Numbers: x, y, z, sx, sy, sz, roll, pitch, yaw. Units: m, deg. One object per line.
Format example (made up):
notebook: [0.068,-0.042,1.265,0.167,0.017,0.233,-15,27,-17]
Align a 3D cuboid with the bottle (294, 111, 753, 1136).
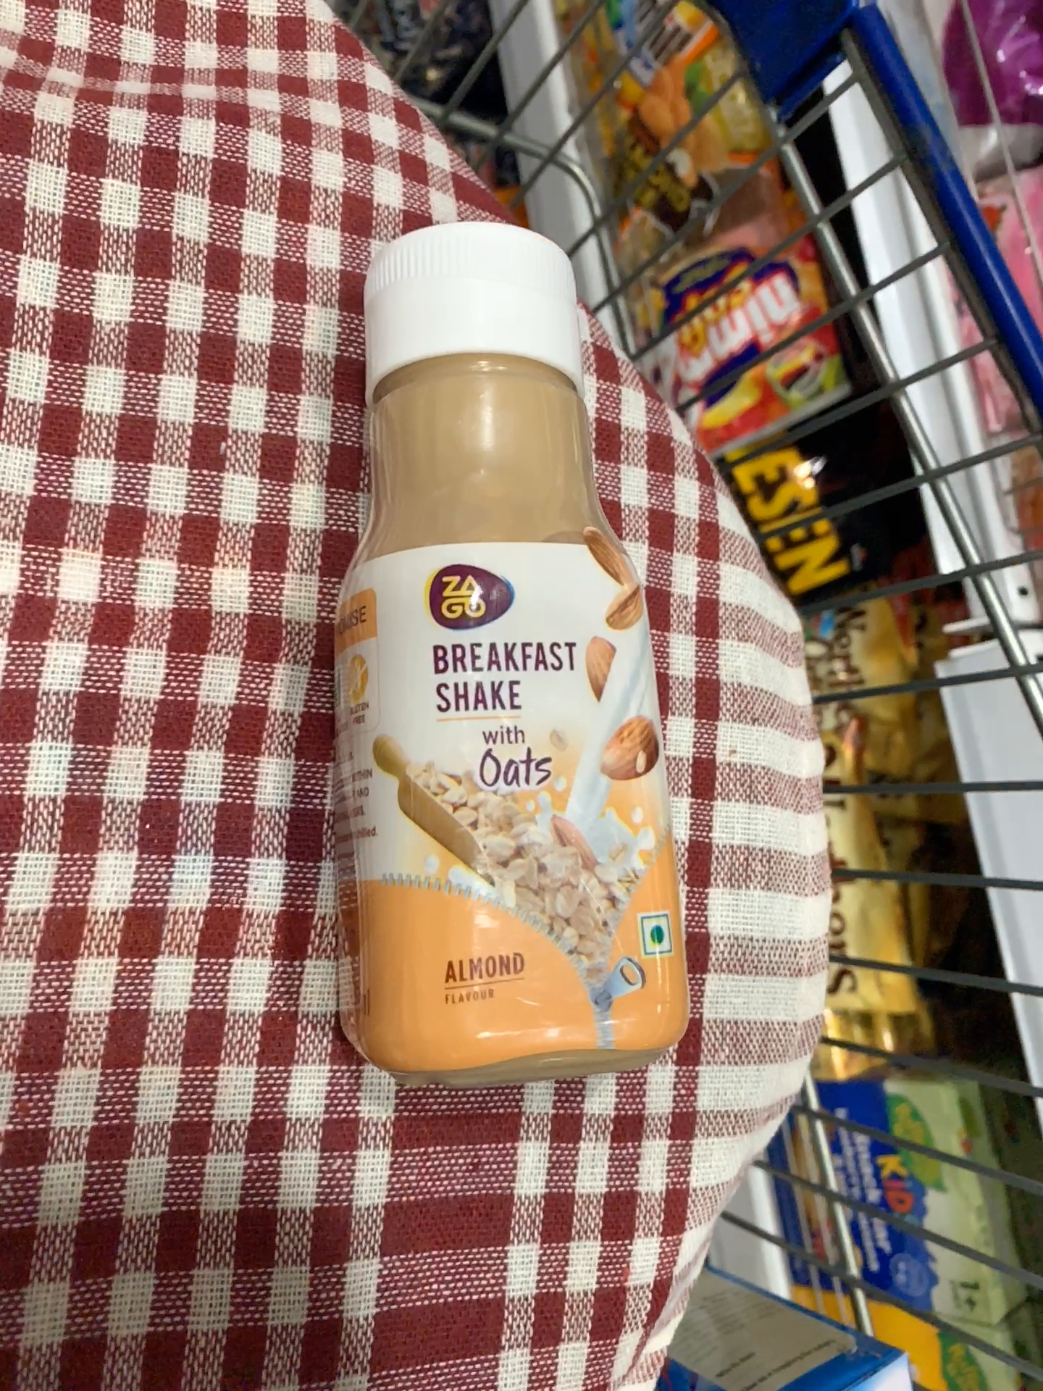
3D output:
bottle: [-0.002,-0.010,0.183,0.060,0.050,0.140,1,86,-25]
